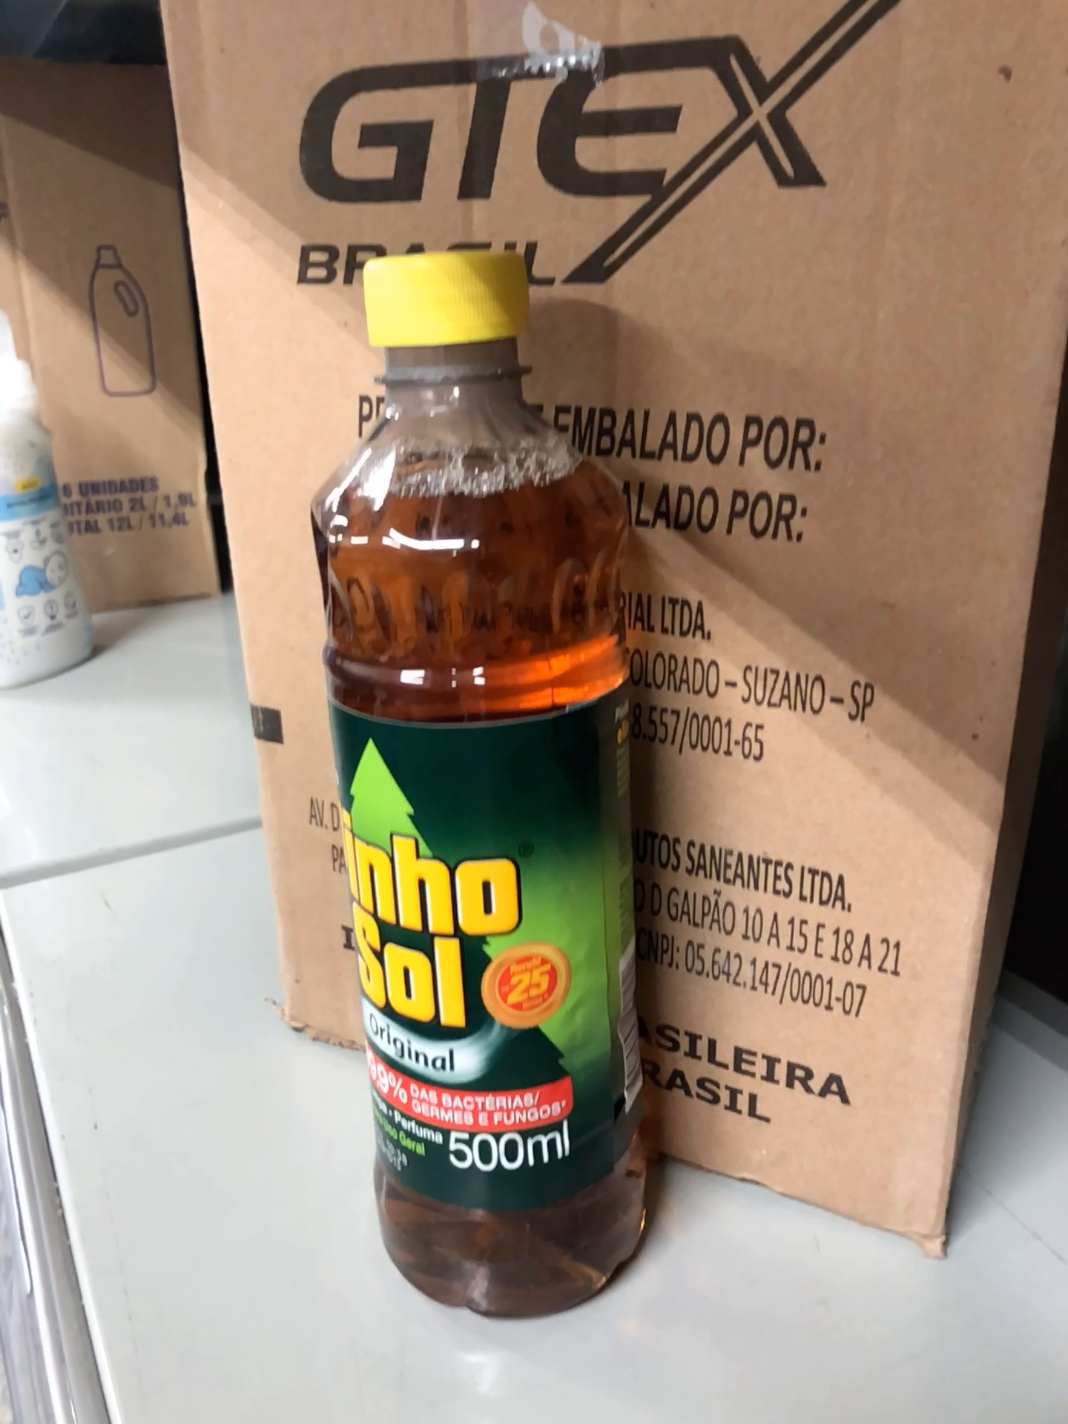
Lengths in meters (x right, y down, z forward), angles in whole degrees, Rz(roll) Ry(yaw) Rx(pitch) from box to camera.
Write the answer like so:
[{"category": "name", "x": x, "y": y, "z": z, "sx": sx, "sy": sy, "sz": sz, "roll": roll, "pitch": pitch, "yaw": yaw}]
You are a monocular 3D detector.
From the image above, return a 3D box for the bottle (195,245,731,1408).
[{"category": "bottle", "x": -0.006, "y": 0.024, "z": 0.244, "sx": 0.070, "sy": 0.219, "sz": 0.060, "roll": 11, "pitch": 26, "yaw": 32}]
